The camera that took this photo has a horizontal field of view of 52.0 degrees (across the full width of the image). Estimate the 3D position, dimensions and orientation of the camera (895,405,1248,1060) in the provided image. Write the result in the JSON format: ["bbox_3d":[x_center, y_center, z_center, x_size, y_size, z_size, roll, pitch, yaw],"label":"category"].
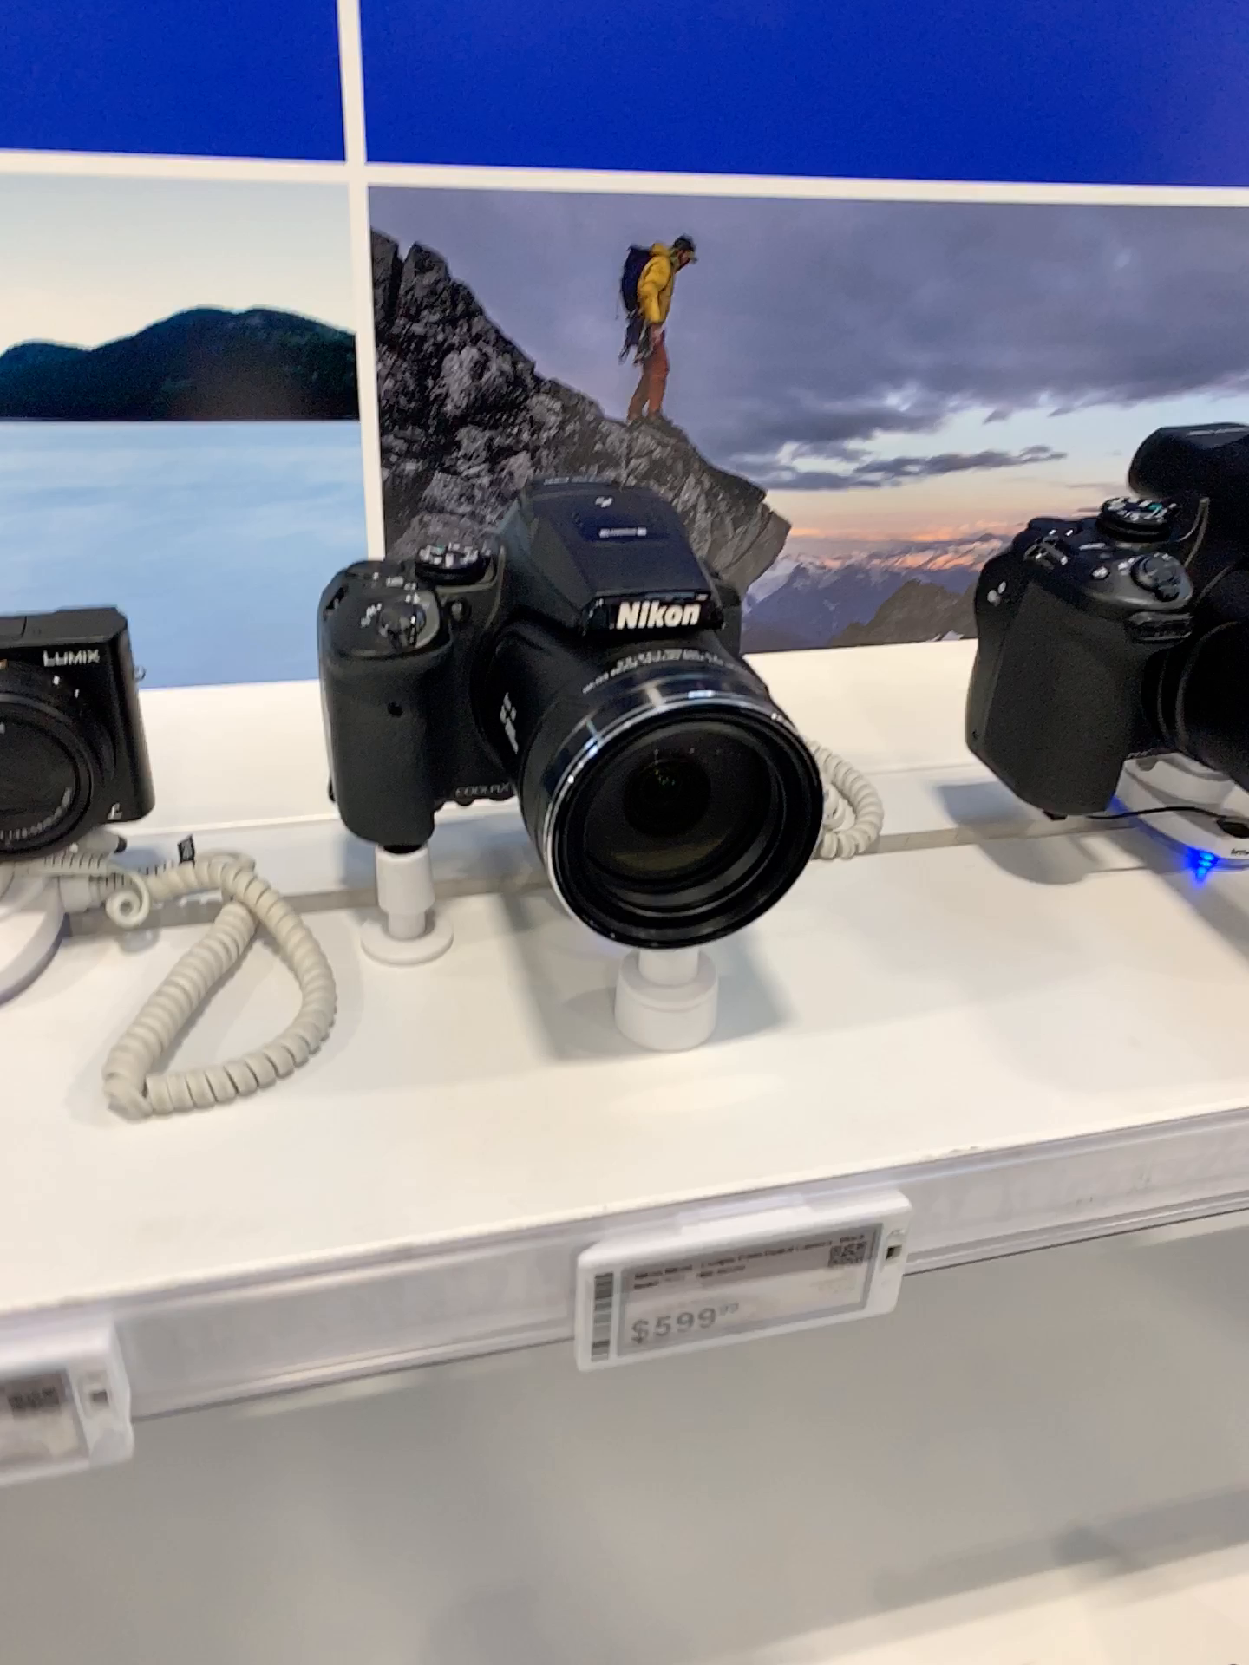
[{"bbox_3d":[0.217,-0.053,0.414,0.160,0.109,0.221,-7,32,-14],"label":"camera"}]

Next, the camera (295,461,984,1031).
[{"bbox_3d":[-0.009,-0.038,0.385,0.160,0.099,0.151,-6,32,-13],"label":"camera"}]

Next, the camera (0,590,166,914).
[{"bbox_3d":[-0.199,-0.025,0.375,0.110,0.070,0.050,-6,32,-13],"label":"camera"}]
